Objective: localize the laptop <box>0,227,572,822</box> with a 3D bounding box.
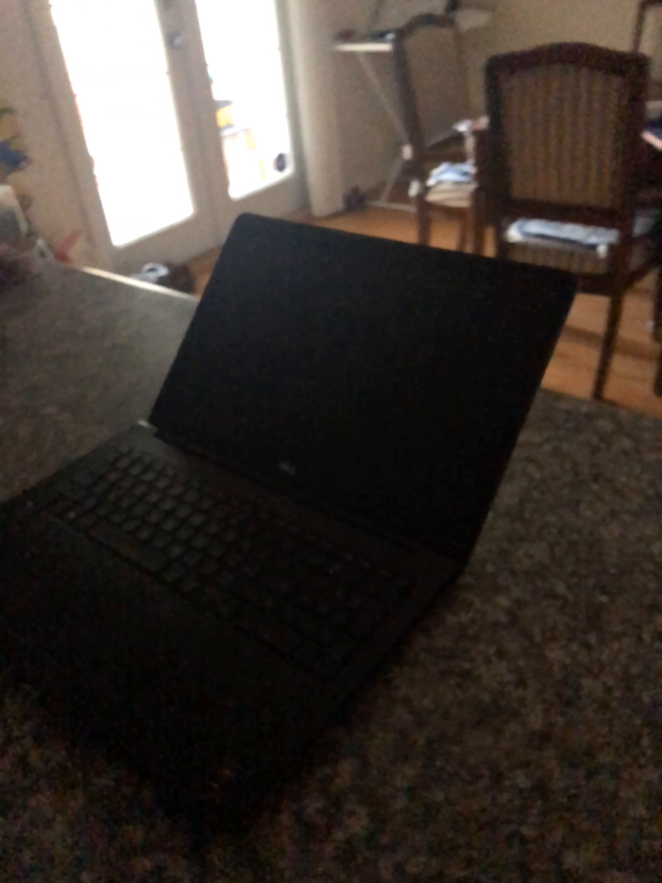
[{"bbox_3d":[-0.074,-0.009,0.586,0.362,0.158,0.415,21,42,33],"label":"laptop"}]
